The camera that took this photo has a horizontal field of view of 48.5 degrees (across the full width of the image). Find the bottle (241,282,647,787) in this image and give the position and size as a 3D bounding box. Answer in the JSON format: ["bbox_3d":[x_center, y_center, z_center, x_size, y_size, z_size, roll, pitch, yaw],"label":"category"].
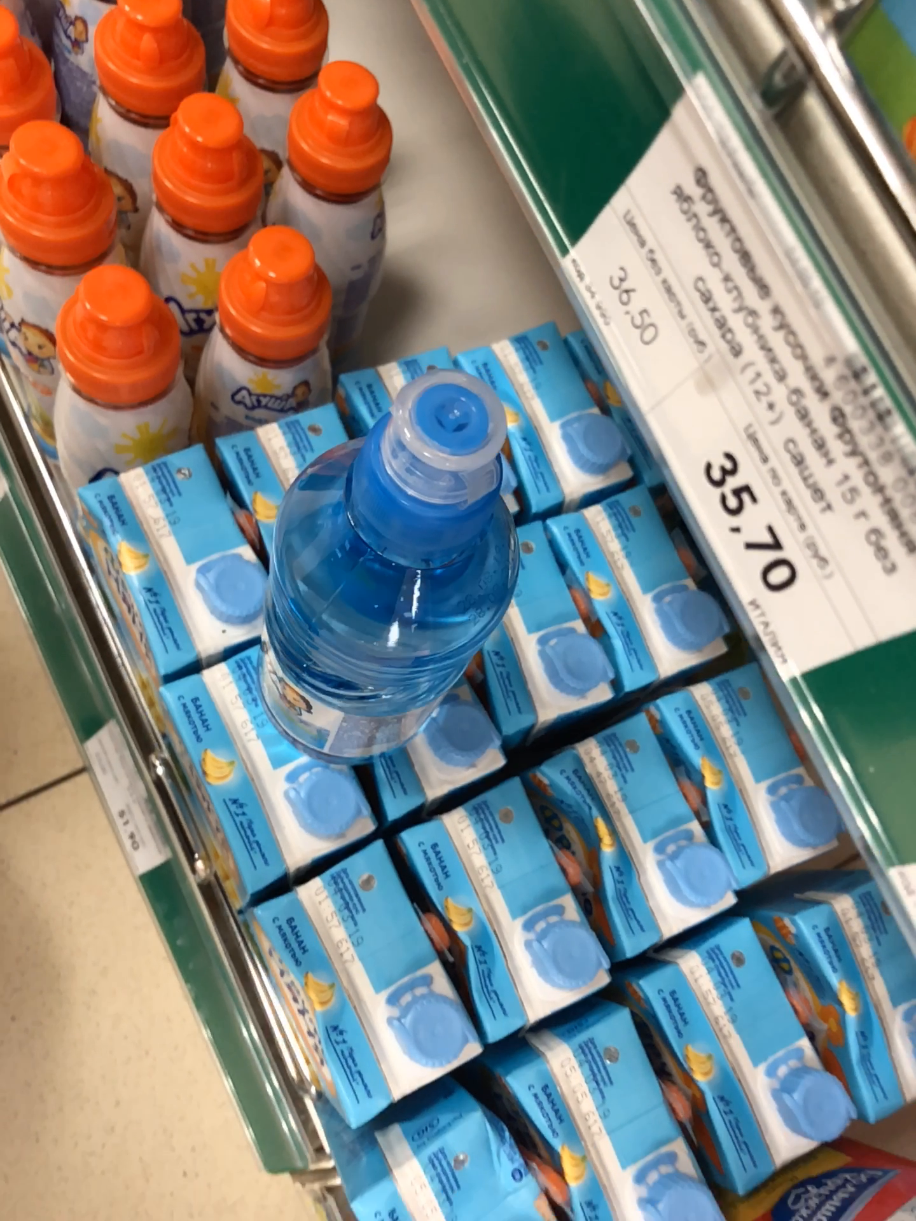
[{"bbox_3d":[-0.019,-0.004,0.266,0.056,0.174,0.060,4,71,-12],"label":"bottle"}]
